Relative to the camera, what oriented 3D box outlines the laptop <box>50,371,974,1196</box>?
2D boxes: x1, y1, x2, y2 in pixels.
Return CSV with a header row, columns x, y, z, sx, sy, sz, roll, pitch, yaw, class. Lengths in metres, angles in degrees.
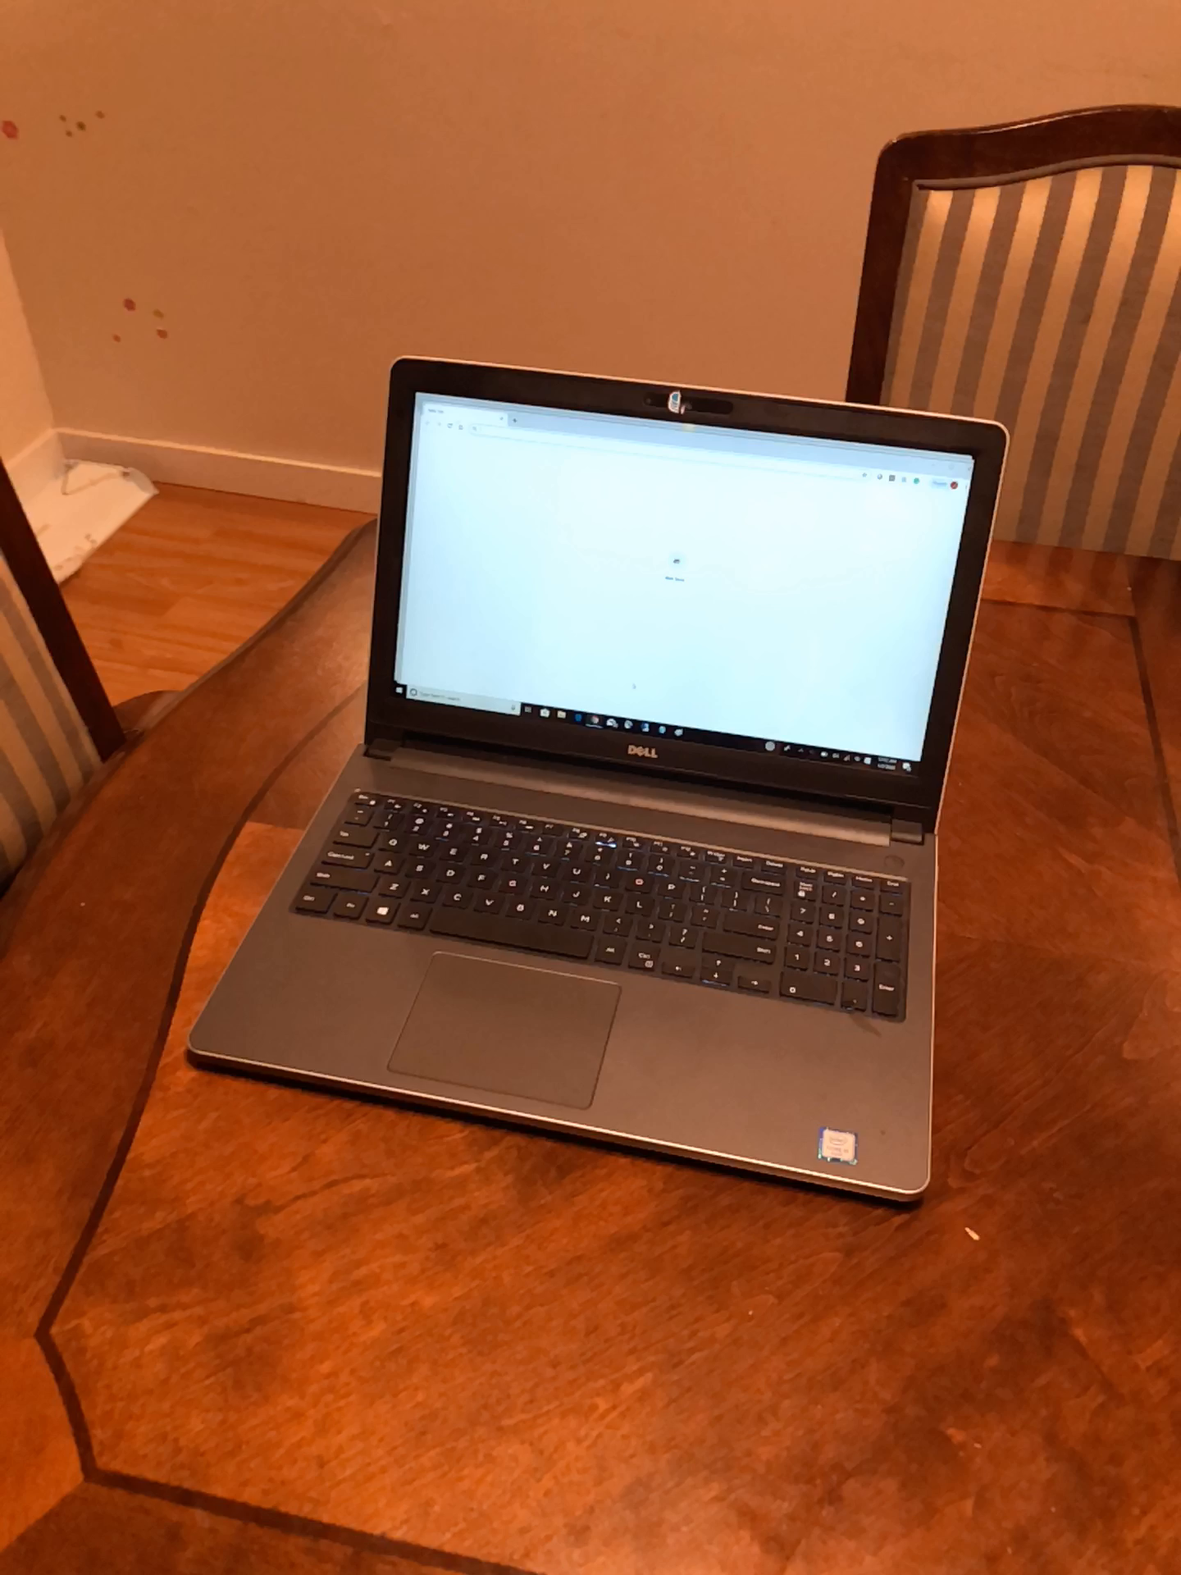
x,y,z,sx,sy,sz,roll,pitch,yaw,class
-0.003,-0.033,0.701,0.369,0.212,0.362,9,41,9,laptop
